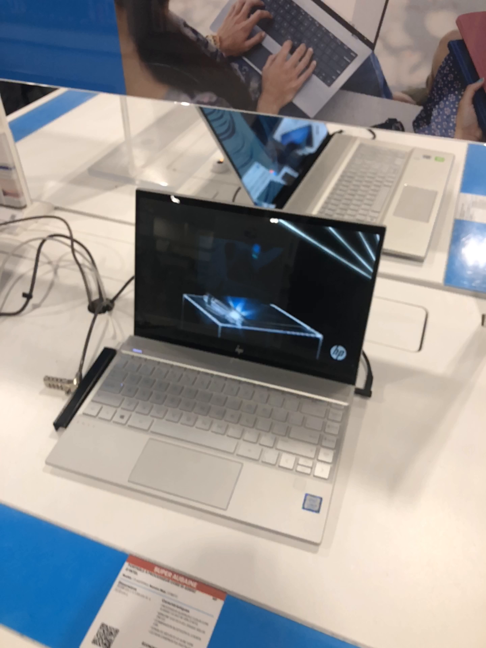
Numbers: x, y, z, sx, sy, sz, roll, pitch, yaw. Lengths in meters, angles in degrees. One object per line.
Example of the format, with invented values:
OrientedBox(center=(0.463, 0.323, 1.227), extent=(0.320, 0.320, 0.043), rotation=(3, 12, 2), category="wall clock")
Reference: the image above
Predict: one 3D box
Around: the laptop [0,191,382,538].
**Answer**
OrientedBox(center=(-0.031, 0.021, 0.588), extent=(0.299, 0.182, 0.272), rotation=(11, 43, 14), category="laptop")
